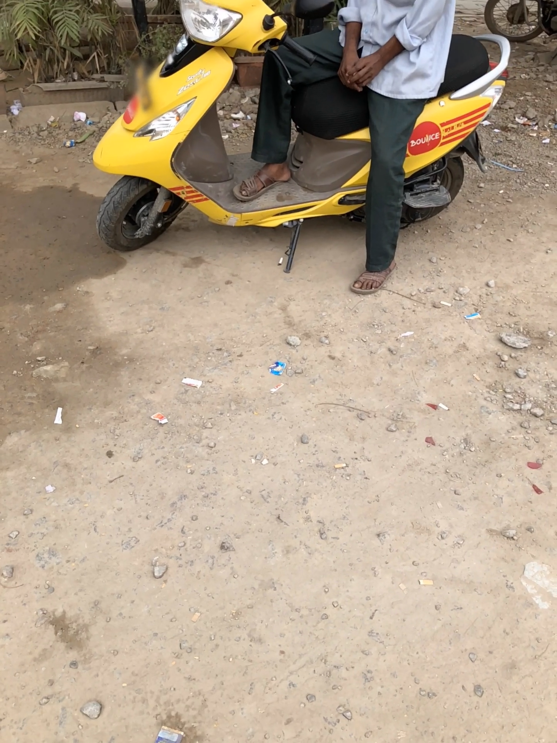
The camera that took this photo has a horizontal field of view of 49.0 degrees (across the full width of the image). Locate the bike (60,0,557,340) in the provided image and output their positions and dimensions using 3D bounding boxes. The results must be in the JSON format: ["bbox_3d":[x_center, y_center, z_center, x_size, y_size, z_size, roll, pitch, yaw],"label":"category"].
[{"bbox_3d":[0.064,-0.999,2.550,1.654,1.161,0.894,-10,42,-11],"label":"bike"}]
